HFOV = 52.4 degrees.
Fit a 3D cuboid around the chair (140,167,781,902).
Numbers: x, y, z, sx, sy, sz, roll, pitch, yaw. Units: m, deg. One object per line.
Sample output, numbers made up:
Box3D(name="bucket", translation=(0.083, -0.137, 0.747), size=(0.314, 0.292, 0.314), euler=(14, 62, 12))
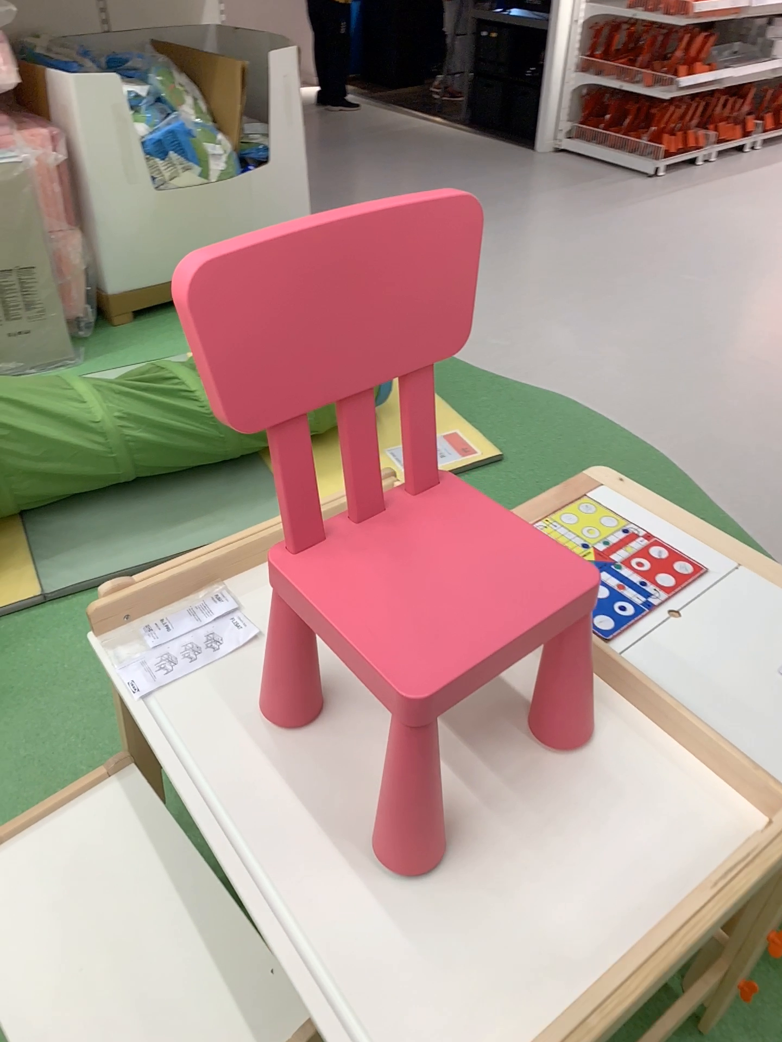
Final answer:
Box3D(name="chair", translation=(0.054, -0.004, 0.893), size=(0.421, 0.597, 0.401), euler=(-25, 45, -29))
